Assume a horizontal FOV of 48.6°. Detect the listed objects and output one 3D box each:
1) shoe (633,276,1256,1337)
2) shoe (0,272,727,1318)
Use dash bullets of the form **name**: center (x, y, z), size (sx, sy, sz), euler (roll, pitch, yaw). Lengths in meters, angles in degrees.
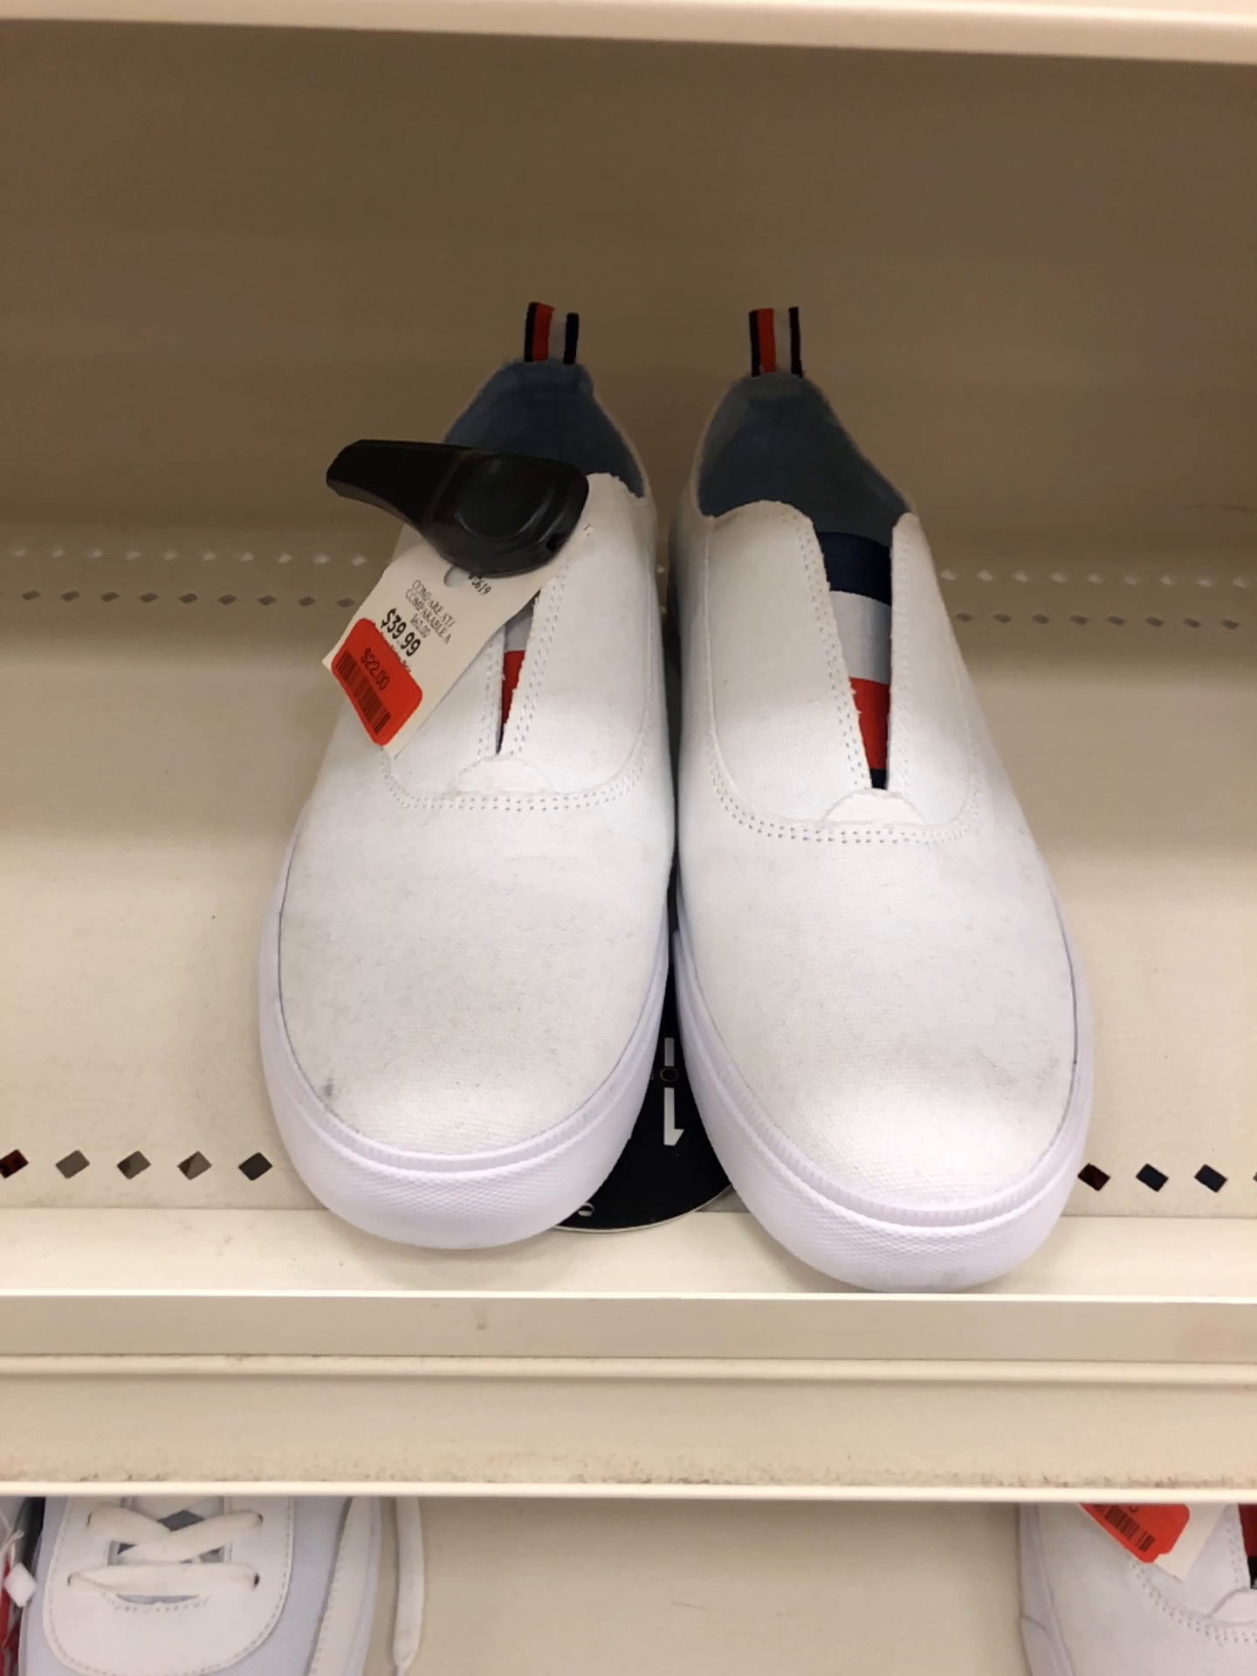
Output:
- **shoe**: center (0.054, -0.040, 0.359), size (0.100, 0.109, 0.303), euler (2, 39, 0)
- **shoe**: center (-0.036, -0.043, 0.333), size (0.100, 0.089, 0.293), euler (2, 39, 0)
